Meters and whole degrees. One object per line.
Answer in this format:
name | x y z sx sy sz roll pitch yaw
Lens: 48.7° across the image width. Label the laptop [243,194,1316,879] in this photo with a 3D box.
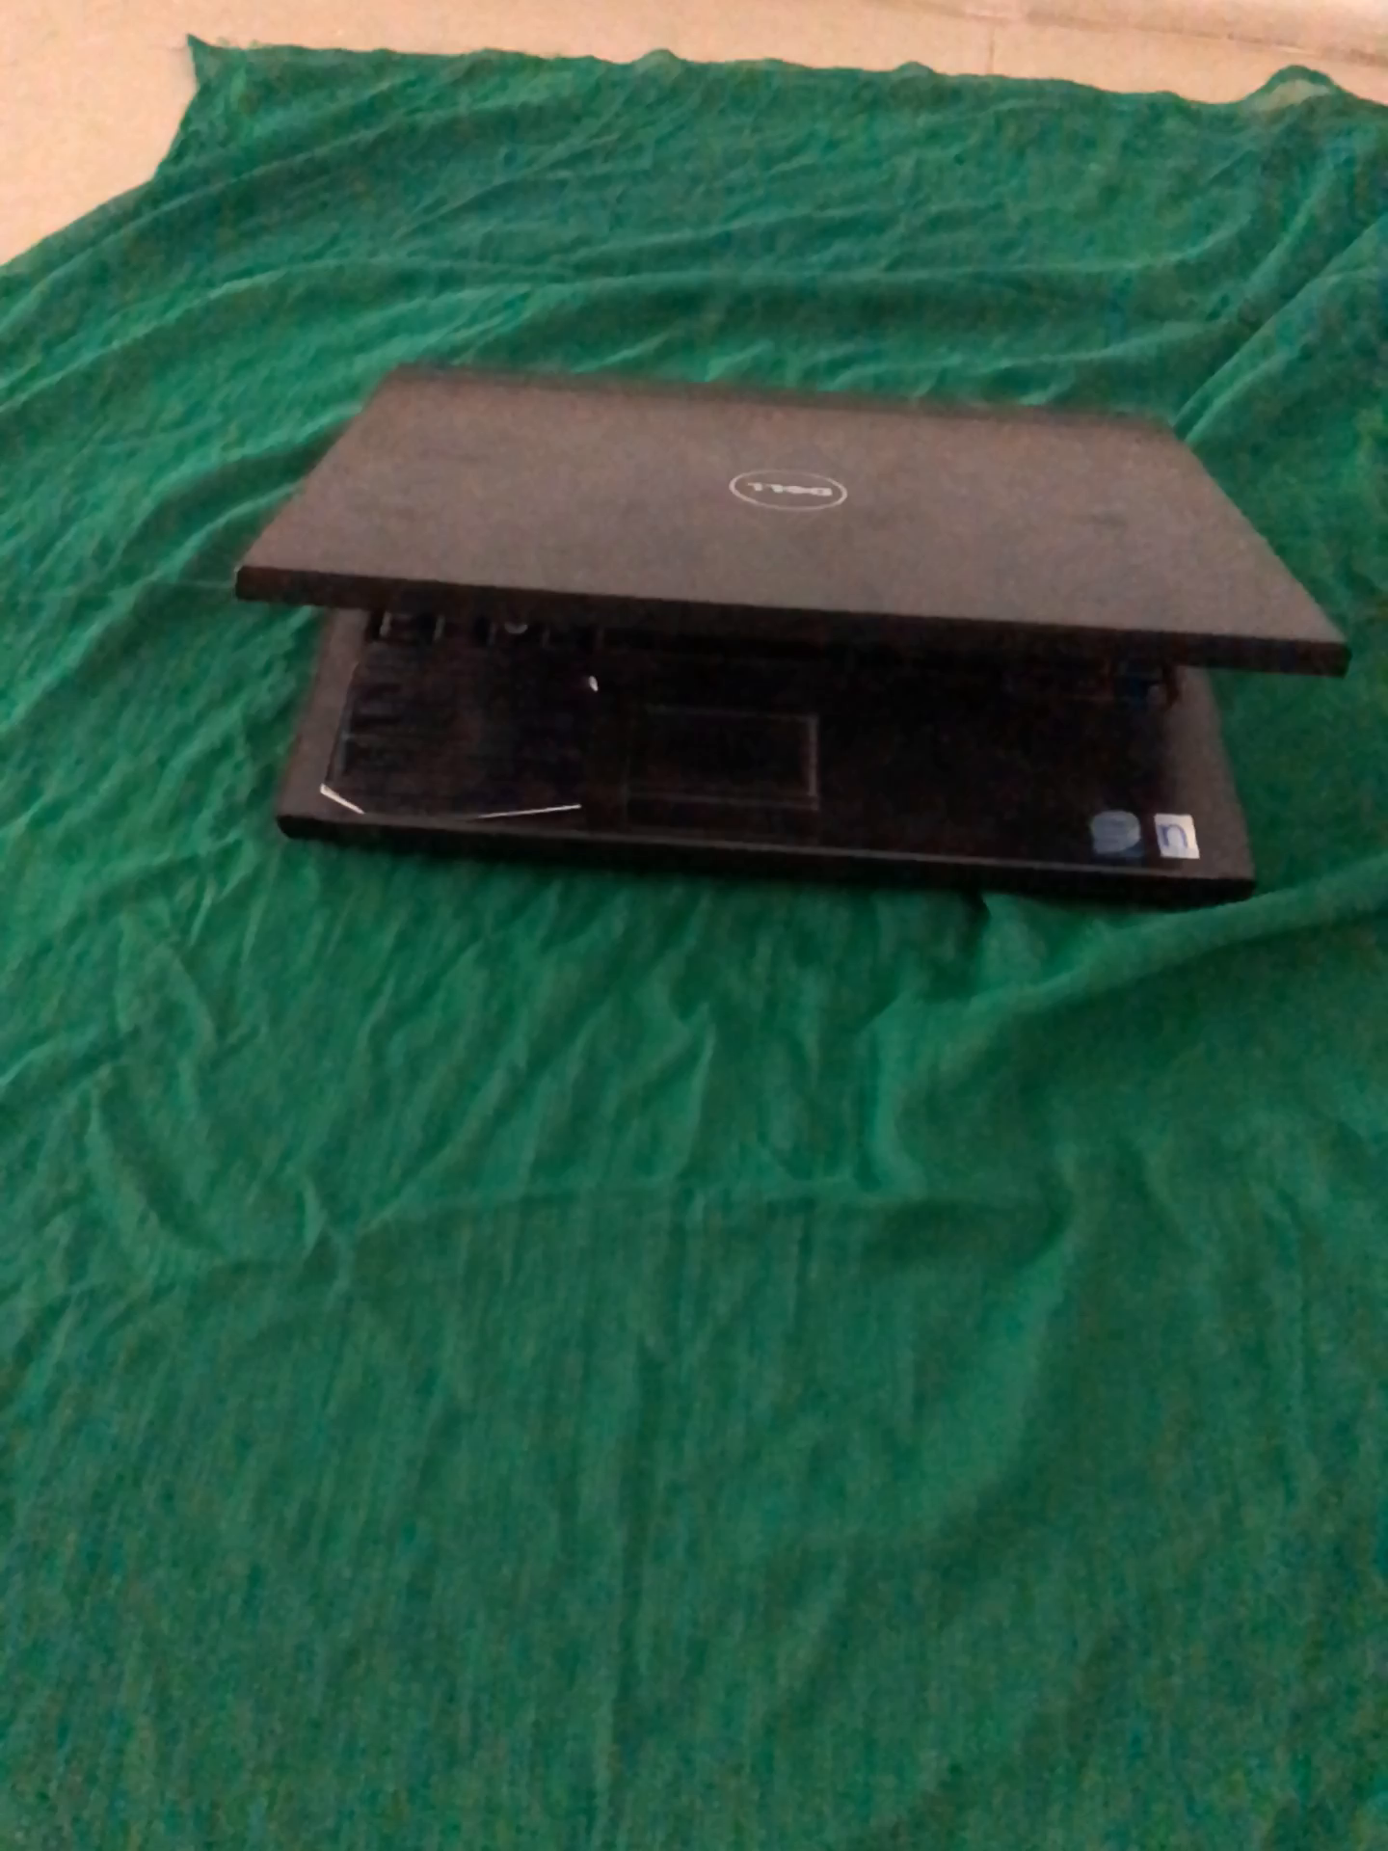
laptop | 0.031 -0.141 0.523 0.306 0.066 0.227 4 57 0
